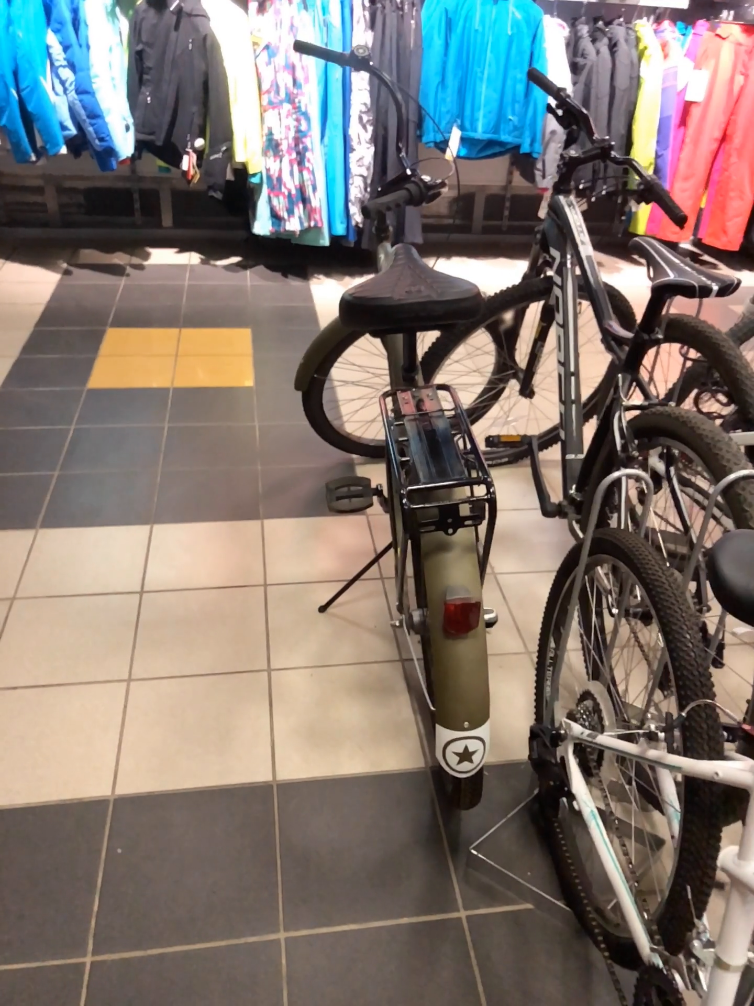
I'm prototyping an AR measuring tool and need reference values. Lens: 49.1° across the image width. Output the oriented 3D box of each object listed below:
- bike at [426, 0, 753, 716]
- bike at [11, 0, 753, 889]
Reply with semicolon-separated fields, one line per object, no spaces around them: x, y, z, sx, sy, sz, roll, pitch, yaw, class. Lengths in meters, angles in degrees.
0.545;-0.422;1.895;0.663;1.228;0.979;5;39;1;bike
0.185;-0.301;1.677;0.831;1.130;1.504;7;36;6;bike
